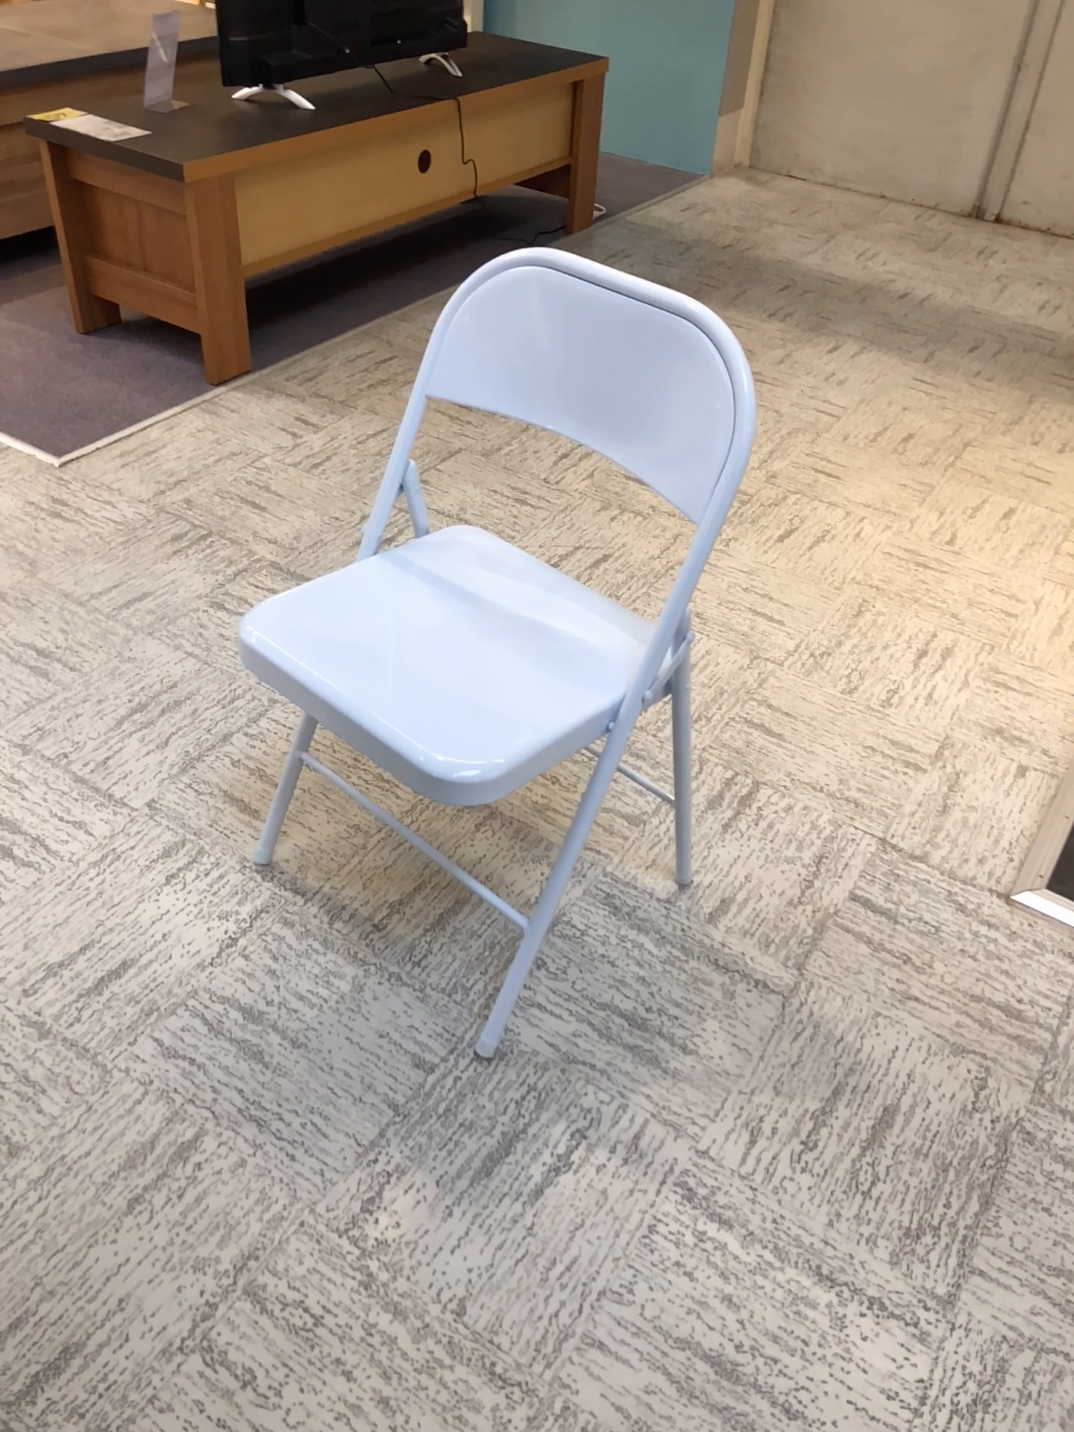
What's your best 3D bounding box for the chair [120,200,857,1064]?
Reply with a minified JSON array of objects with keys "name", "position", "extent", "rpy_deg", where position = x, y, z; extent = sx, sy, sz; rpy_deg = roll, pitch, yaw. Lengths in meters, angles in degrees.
[{"name":"chair","position":[-0.062,-0.114,1.334],"extent":[0.510,0.706,0.483],"rpy_deg":[32,47,30]}]
